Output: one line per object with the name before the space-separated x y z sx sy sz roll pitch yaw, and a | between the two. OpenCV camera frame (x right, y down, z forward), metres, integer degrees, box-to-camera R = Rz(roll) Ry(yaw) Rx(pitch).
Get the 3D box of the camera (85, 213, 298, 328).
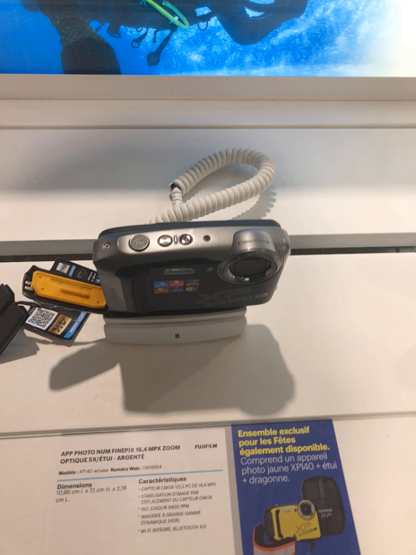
camera | -0.010 -0.002 0.264 0.106 0.070 0.023 -4 56 -6
